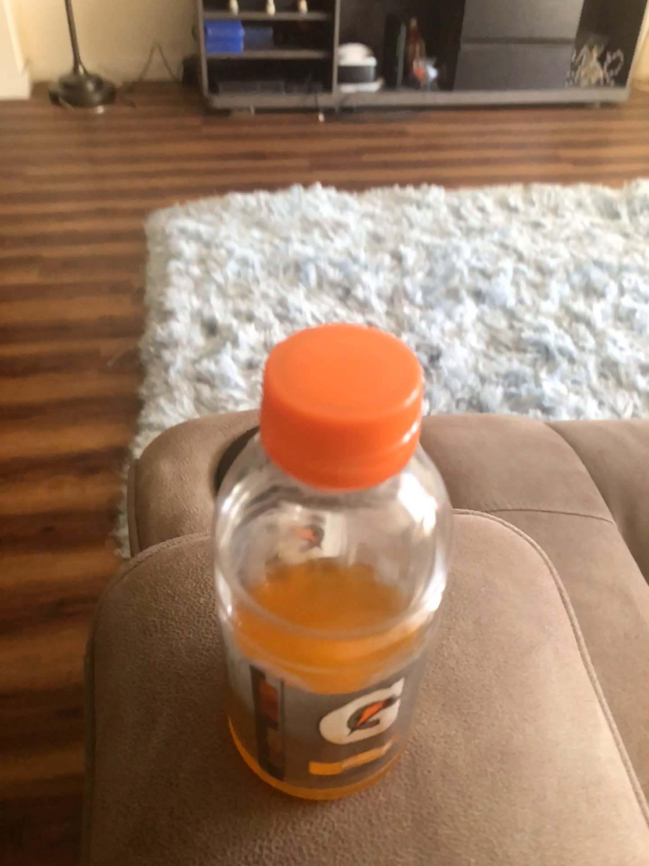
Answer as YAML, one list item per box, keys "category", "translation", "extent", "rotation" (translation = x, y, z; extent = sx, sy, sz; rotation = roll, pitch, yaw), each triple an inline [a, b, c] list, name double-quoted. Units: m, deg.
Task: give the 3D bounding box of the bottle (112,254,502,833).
- category: "bottle"
  translation: [-0.001, 0.038, 0.206]
  extent: [0.070, 0.149, 0.070]
  rotation: [2, 40, -1]
